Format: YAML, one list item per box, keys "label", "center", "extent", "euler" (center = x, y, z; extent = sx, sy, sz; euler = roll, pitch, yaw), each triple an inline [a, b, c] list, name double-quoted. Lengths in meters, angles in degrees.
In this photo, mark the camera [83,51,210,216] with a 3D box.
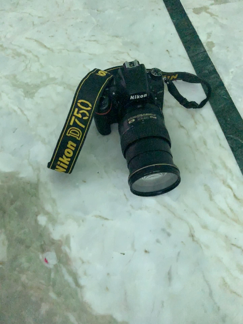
- label: "camera"
  center: [0.025, -0.052, 0.399]
  extent: [0.139, 0.100, 0.233]
  euler: [-9, 58, 0]
